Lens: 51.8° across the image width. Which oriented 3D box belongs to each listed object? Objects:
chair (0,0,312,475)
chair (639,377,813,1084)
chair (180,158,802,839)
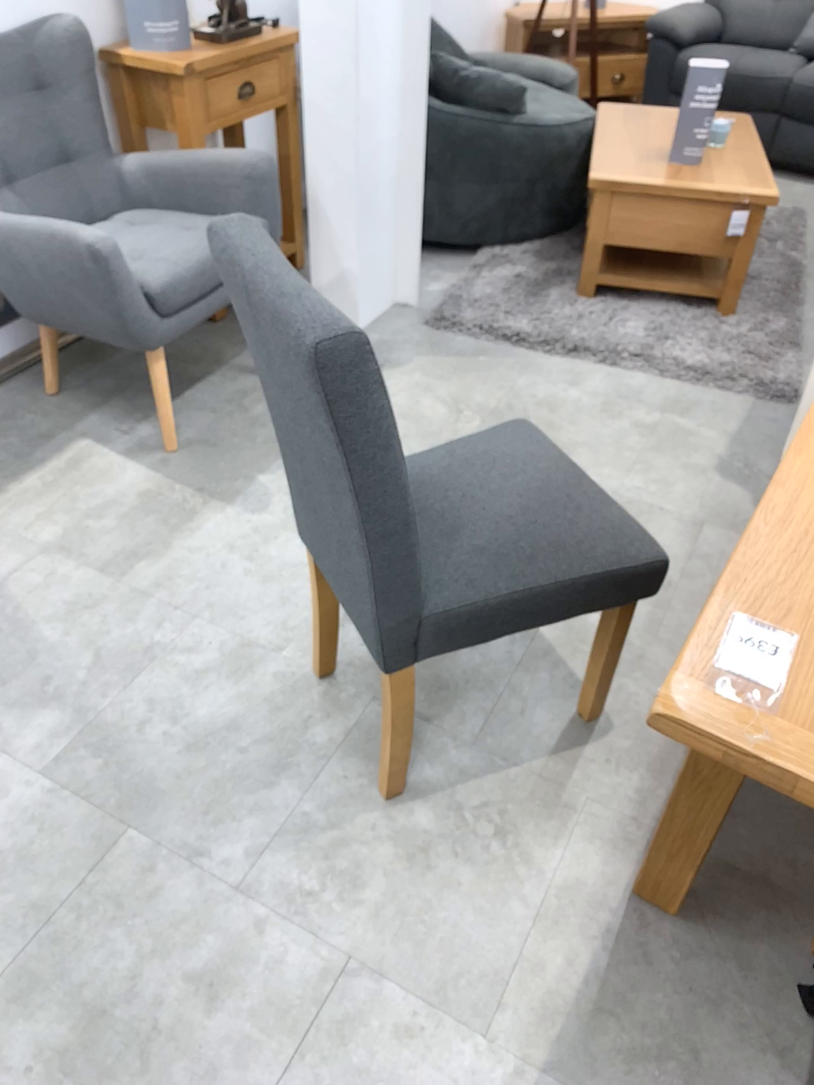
[{"bbox_3d":[-0.669,-0.756,2.027,0.583,0.830,0.669,18,44,18],"label":"chair"},{"bbox_3d":[0.632,0.465,0.696,0.505,0.899,0.627,22,45,22],"label":"chair"},{"bbox_3d":[0.081,-0.066,1.322,0.643,0.830,0.448,-17,44,-21],"label":"chair"}]
